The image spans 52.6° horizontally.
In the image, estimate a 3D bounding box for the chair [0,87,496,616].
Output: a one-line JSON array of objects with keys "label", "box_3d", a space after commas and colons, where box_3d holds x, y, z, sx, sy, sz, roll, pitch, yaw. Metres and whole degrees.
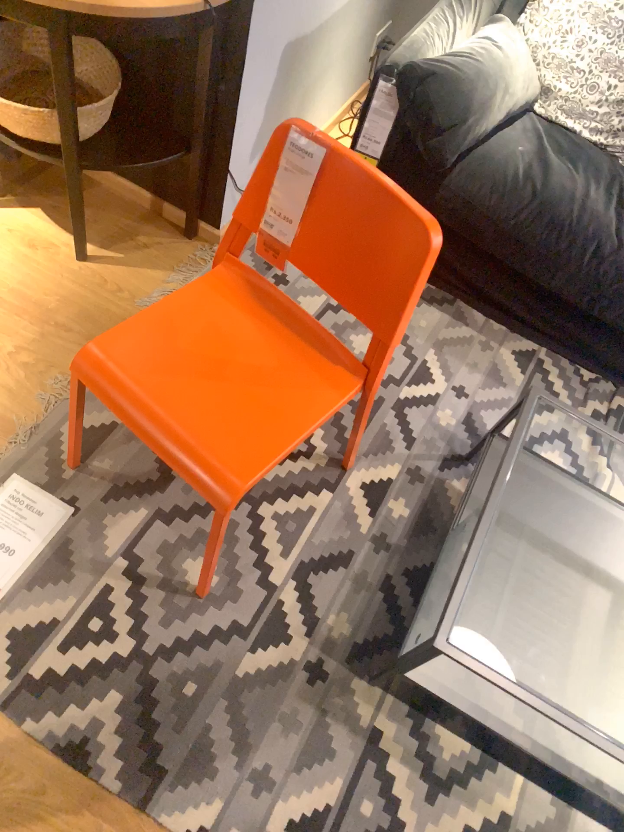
[{"label": "chair", "box_3d": [-0.147, -0.091, 1.265, 0.520, 0.728, 0.581, 41, 57, 11]}]
